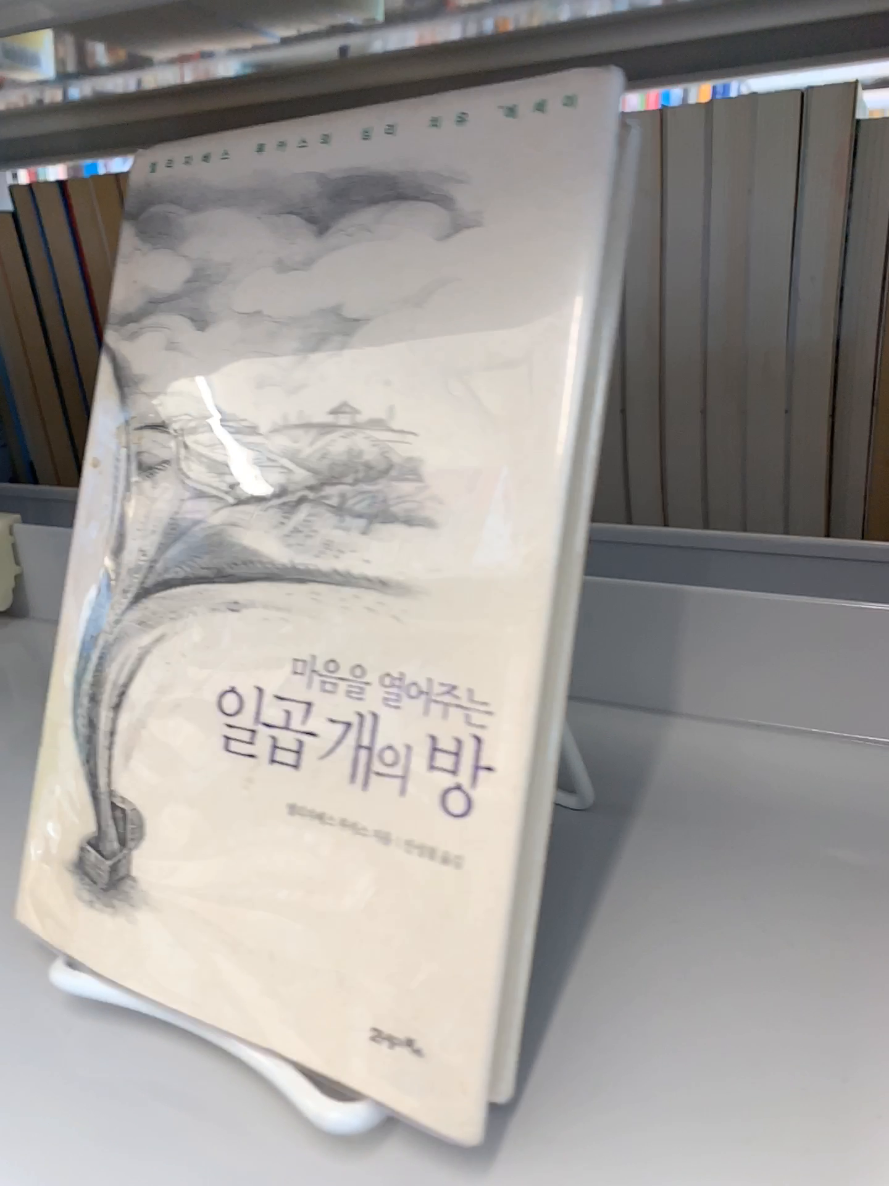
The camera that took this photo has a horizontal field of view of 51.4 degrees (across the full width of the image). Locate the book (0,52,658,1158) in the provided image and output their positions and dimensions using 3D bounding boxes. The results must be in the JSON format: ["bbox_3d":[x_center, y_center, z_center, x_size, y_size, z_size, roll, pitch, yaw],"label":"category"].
[{"bbox_3d":[-0.036,-0.006,0.202,0.137,0.192,0.019,9,1,30],"label":"book"}]
